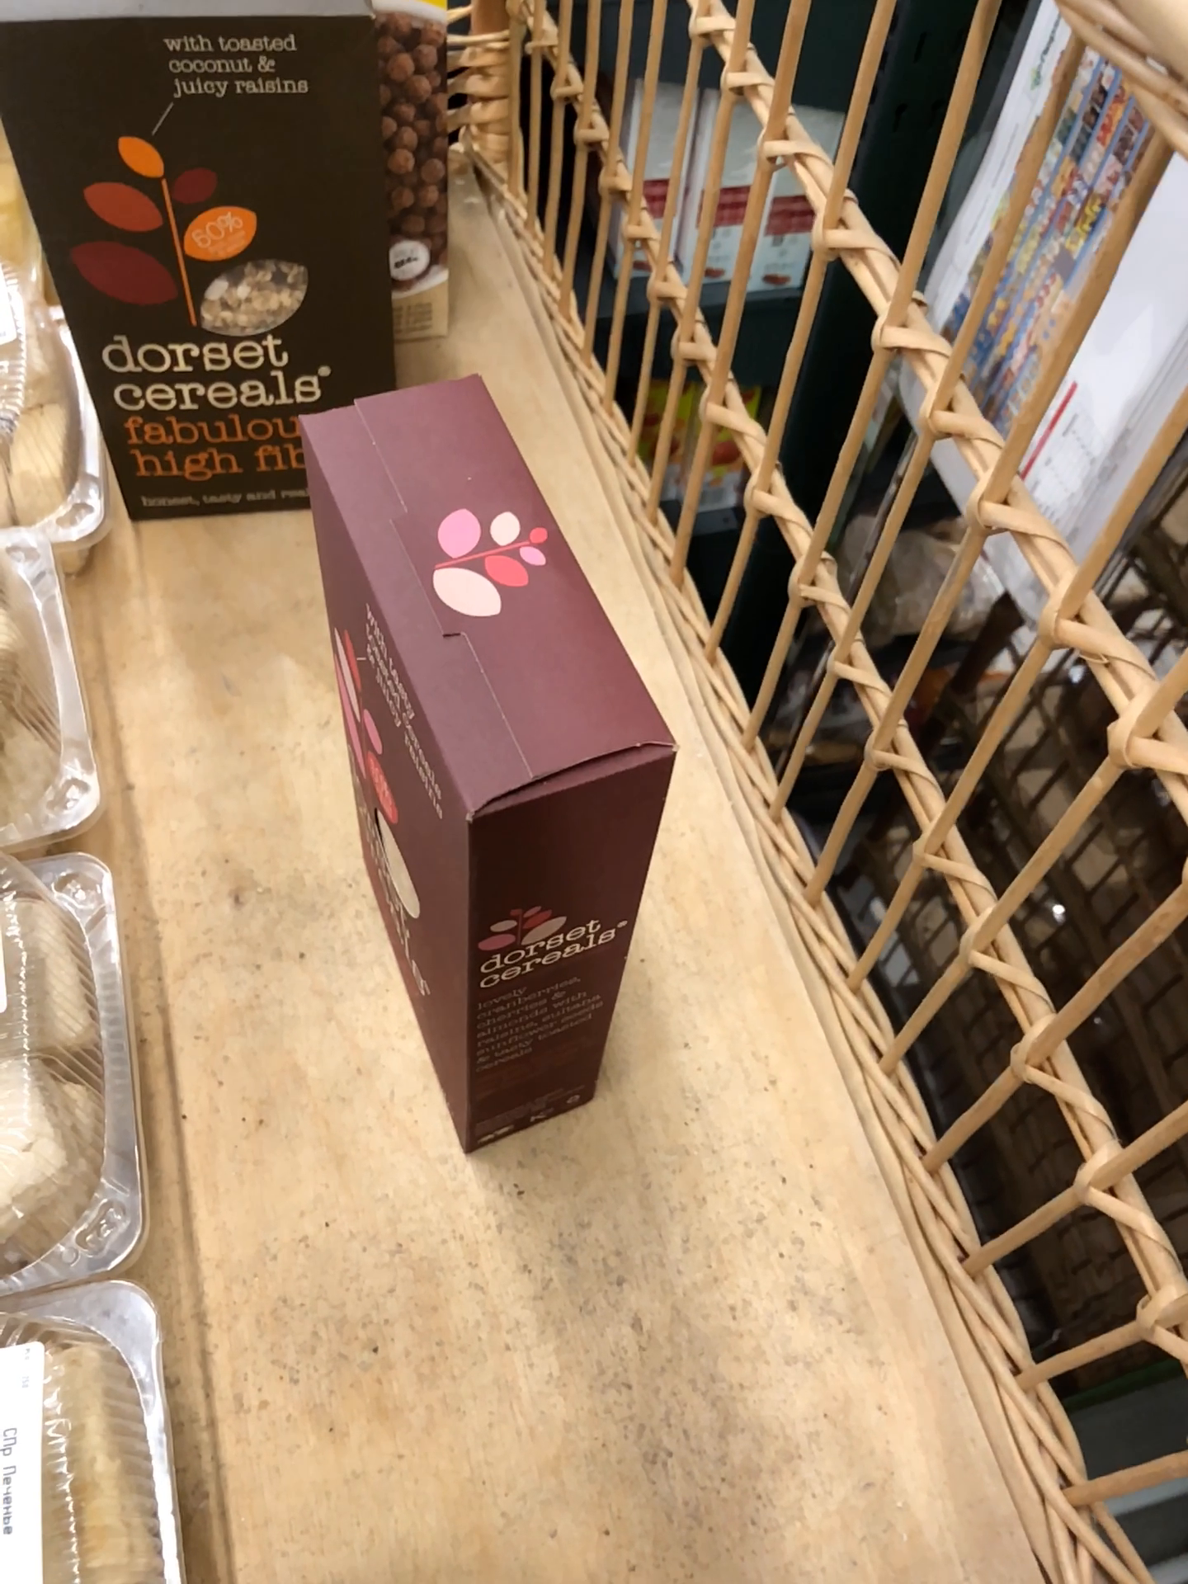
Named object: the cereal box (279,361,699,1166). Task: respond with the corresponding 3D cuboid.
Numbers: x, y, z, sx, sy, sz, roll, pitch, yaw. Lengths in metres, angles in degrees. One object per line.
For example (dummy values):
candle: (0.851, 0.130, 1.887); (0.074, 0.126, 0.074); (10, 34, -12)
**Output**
cereal box: (-0.037, 0.008, 0.366); (0.050, 0.209, 0.120); (-17, 61, -17)
